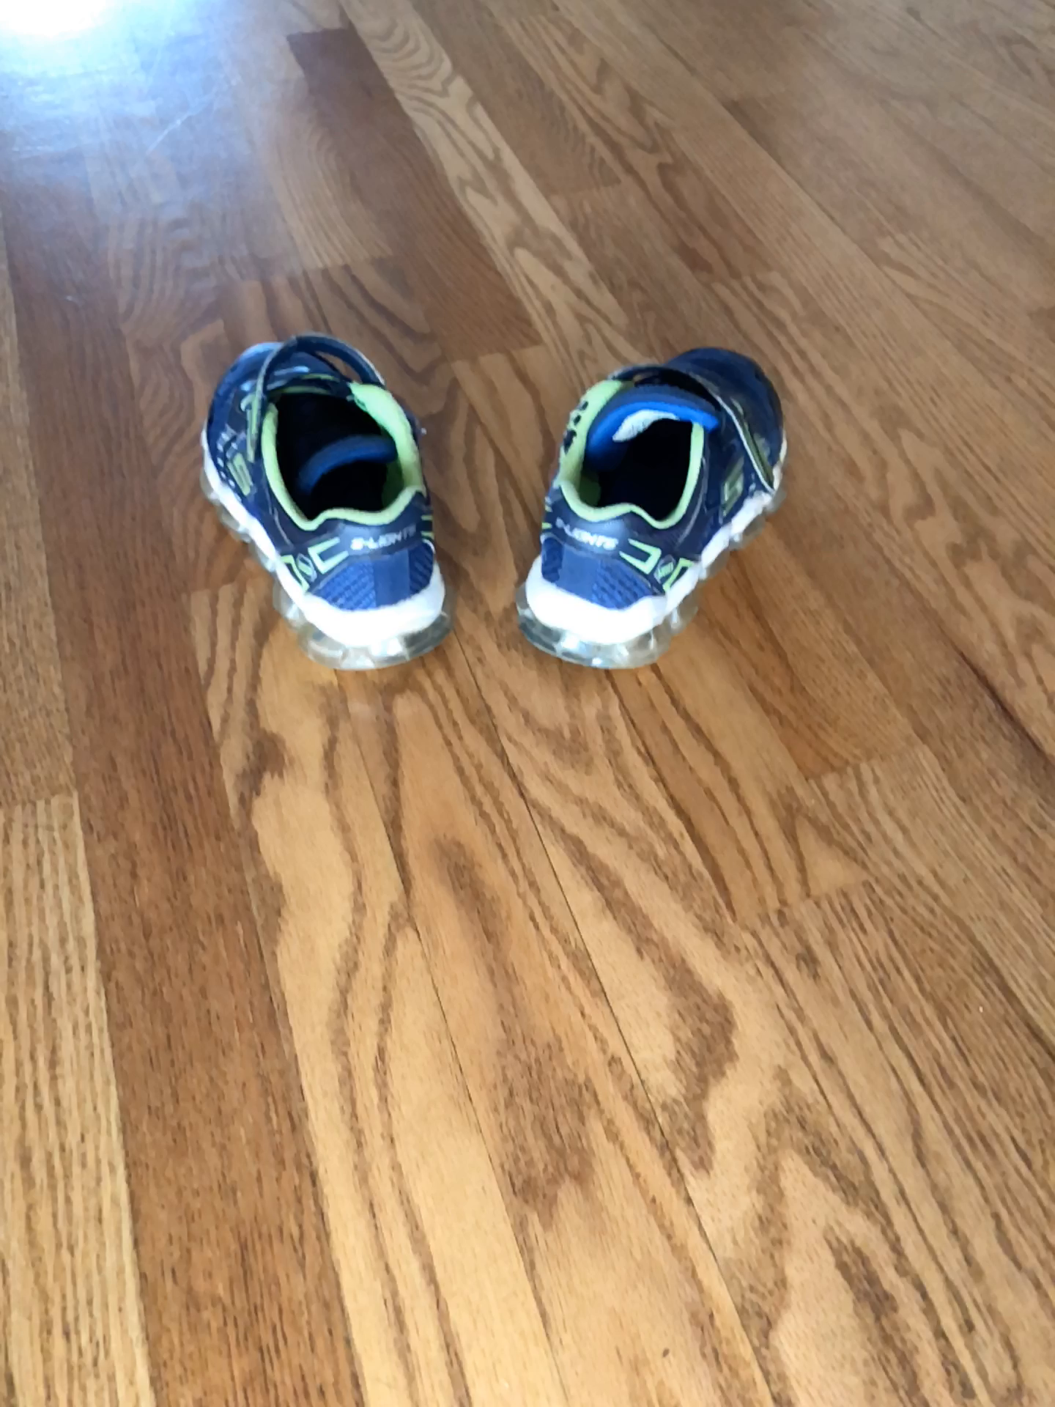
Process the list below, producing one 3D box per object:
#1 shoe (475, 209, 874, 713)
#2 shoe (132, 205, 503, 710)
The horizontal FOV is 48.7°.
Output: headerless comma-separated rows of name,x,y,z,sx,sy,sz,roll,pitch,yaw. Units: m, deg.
shoe,0.067,-0.114,0.506,0.093,0.087,0.213,21,54,14
shoe,-0.093,-0.114,0.507,0.093,0.095,0.203,-18,54,-15
